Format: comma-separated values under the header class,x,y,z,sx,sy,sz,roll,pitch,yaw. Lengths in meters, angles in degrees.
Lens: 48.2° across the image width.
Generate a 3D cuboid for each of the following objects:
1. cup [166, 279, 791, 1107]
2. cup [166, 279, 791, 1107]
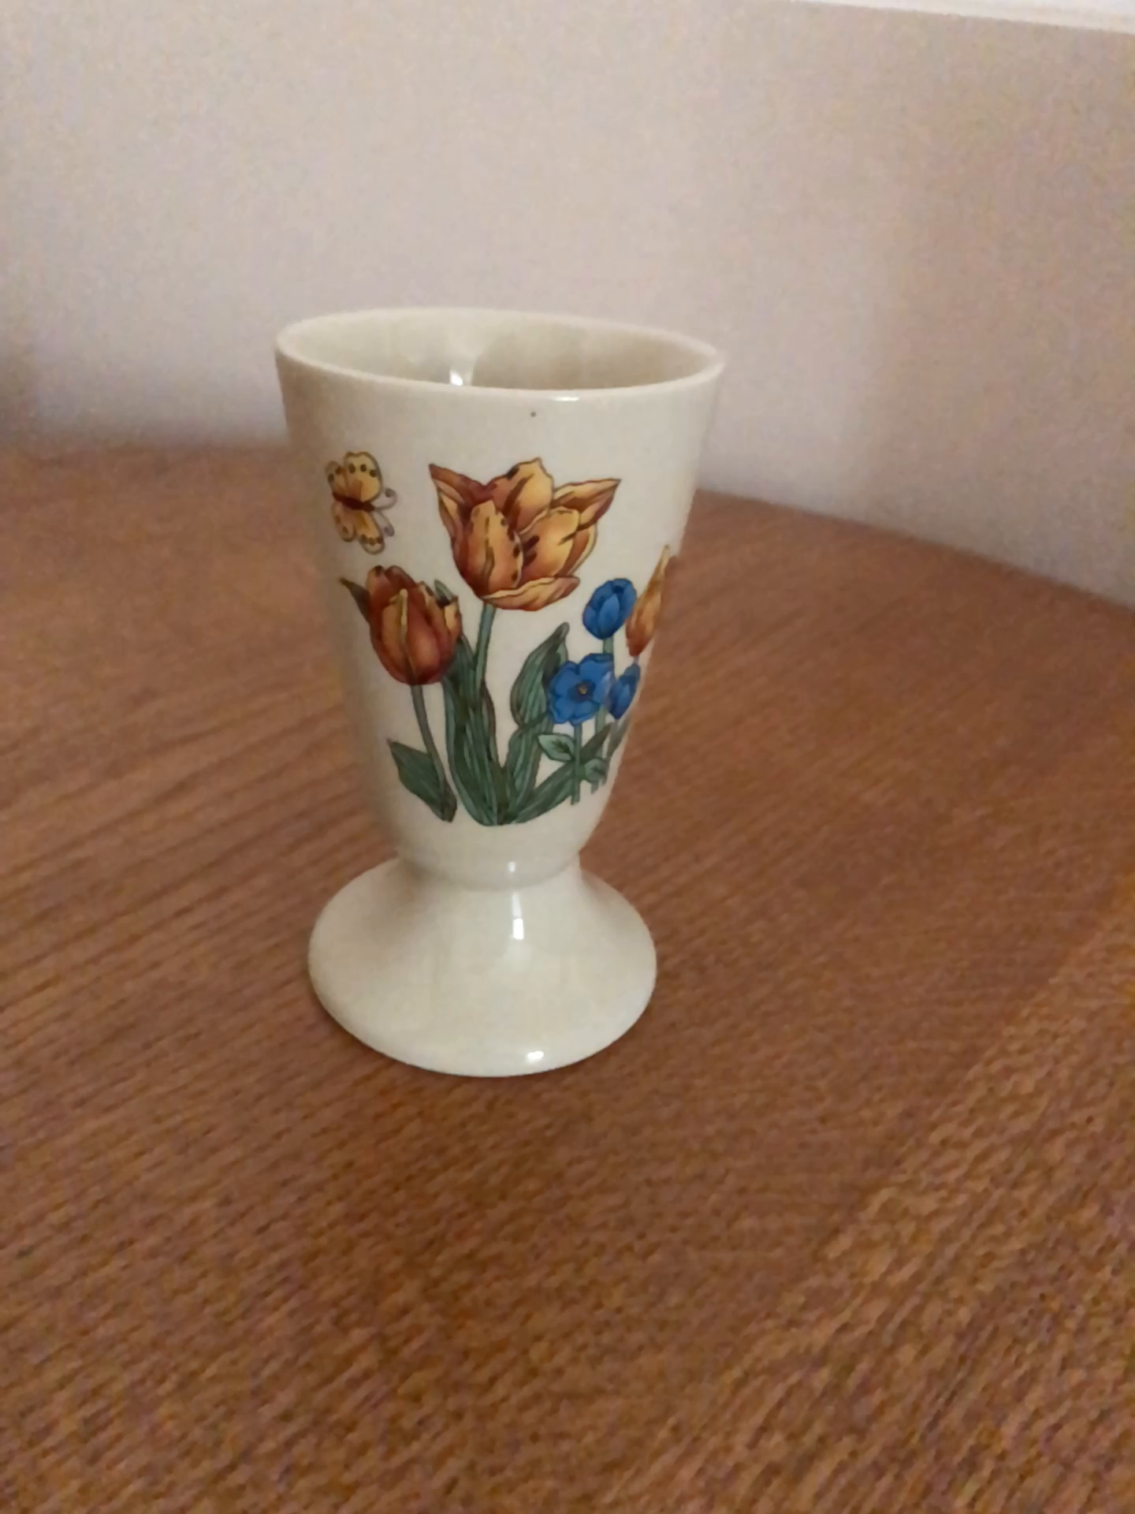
class,x,y,z,sx,sy,sz,roll,pitch,yaw
cup,-0.020,-0.013,0.225,0.080,0.119,0.080,4,27,-2
cup,-0.020,-0.013,0.225,0.080,0.119,0.080,4,27,-2
